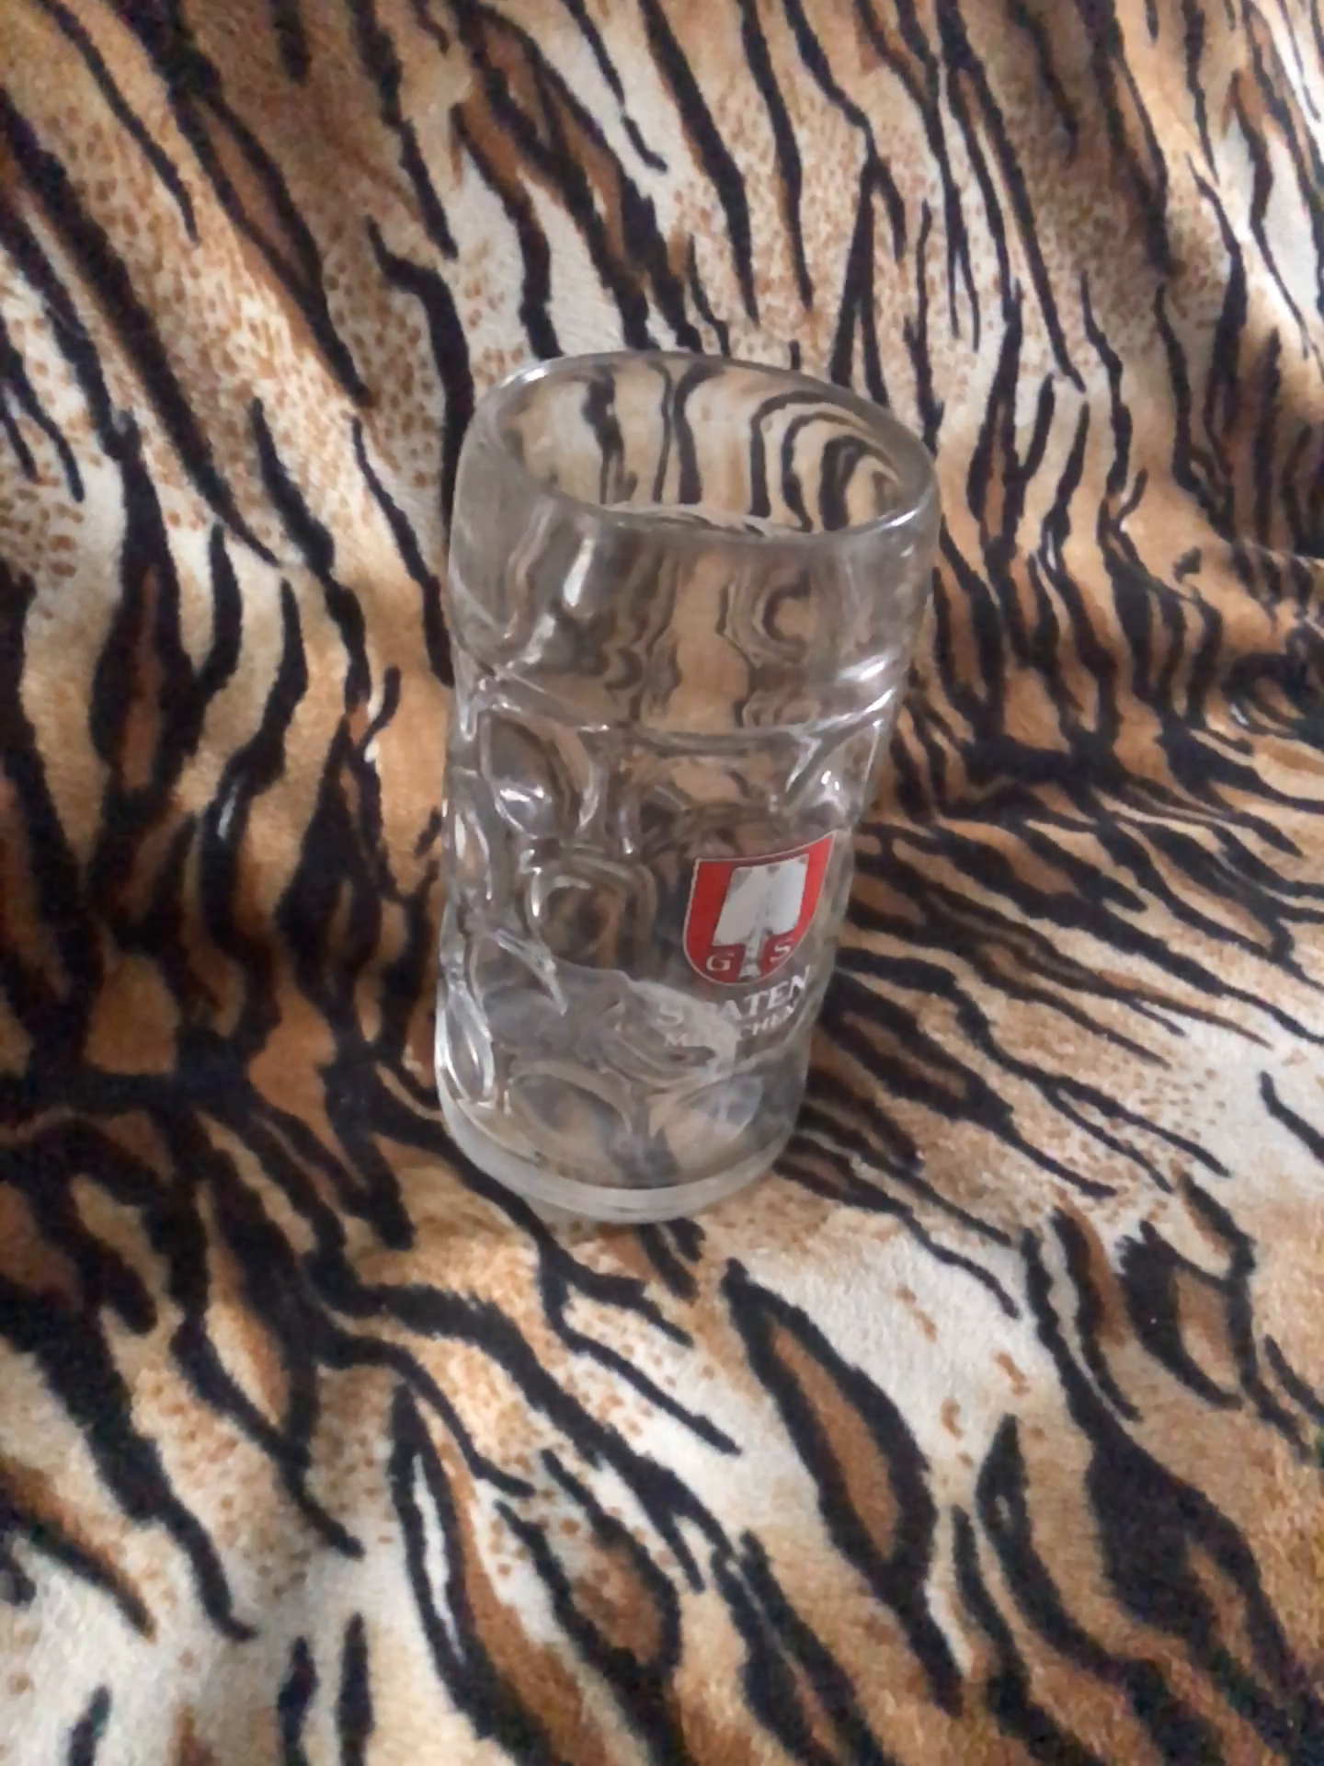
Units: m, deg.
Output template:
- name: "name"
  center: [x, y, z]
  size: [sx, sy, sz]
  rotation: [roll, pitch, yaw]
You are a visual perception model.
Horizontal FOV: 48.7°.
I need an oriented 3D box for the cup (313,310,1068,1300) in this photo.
- name: "cup"
  center: [-0.006, -0.026, 0.389]
  size: [0.121, 0.194, 0.150]
  rotation: [-13, 40, -20]
